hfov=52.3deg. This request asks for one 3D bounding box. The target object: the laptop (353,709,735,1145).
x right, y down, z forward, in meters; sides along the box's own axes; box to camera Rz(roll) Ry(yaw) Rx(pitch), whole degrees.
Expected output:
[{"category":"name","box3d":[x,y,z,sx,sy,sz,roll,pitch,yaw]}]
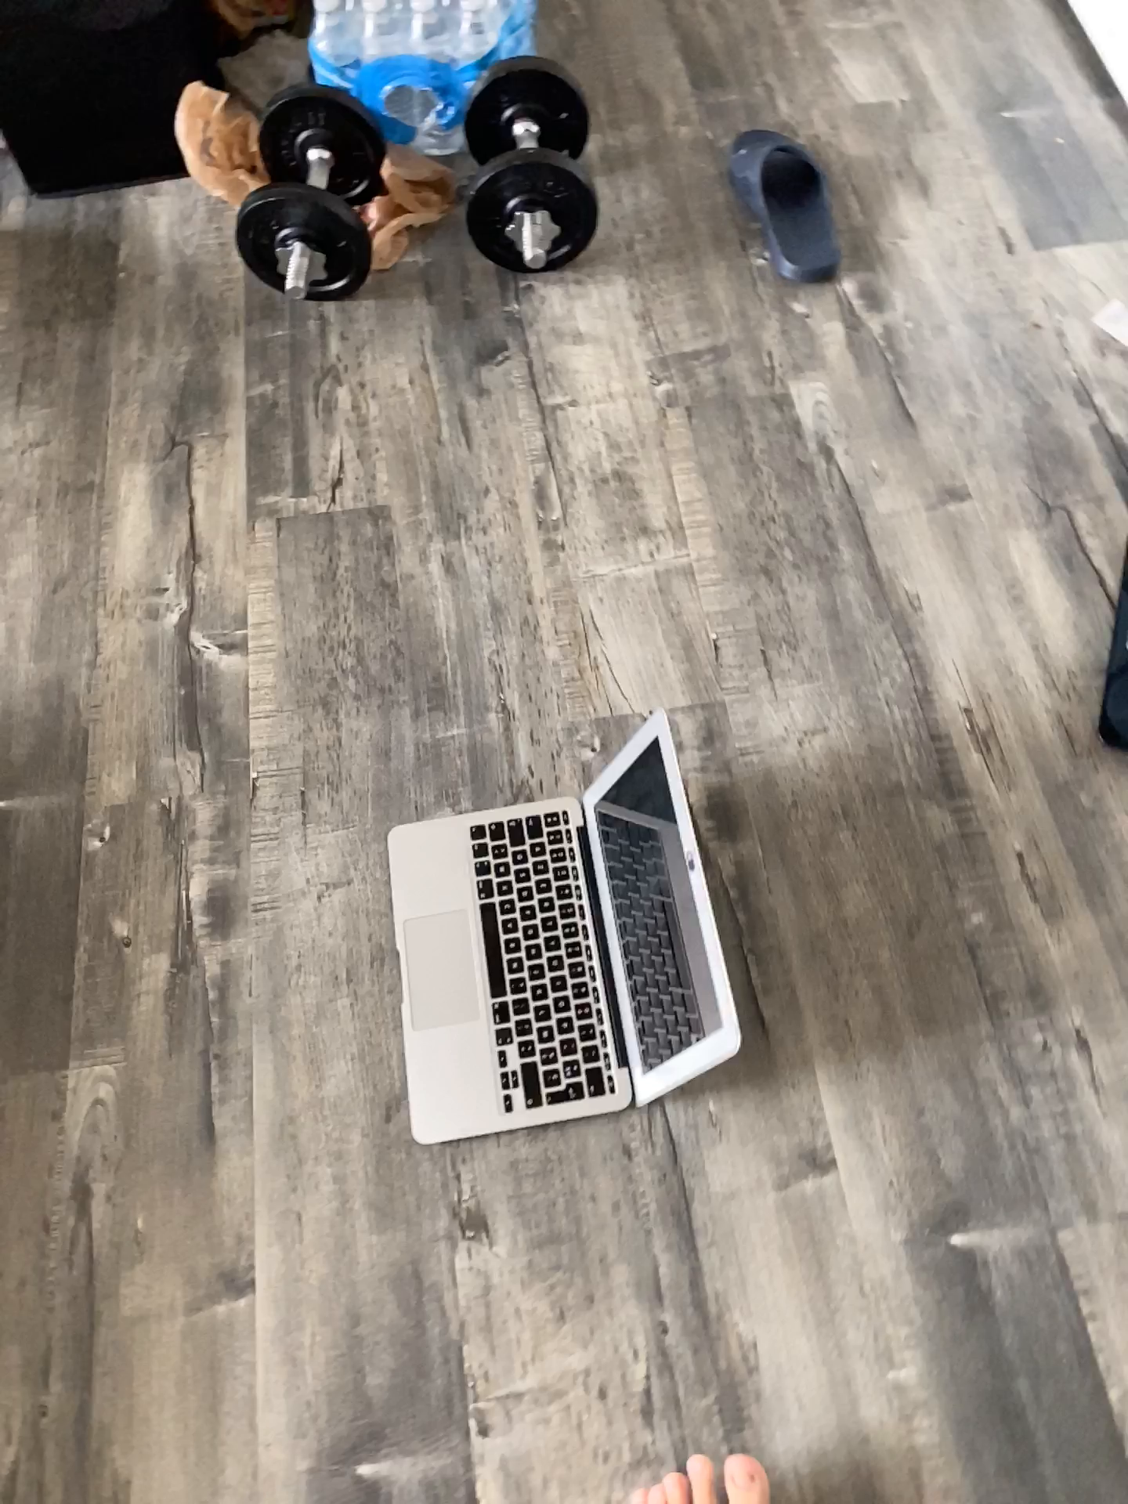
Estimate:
[{"category":"laptop","box3d":[-0.023,0.144,0.956,0.254,0.159,0.291,-8,62,-5]}]
